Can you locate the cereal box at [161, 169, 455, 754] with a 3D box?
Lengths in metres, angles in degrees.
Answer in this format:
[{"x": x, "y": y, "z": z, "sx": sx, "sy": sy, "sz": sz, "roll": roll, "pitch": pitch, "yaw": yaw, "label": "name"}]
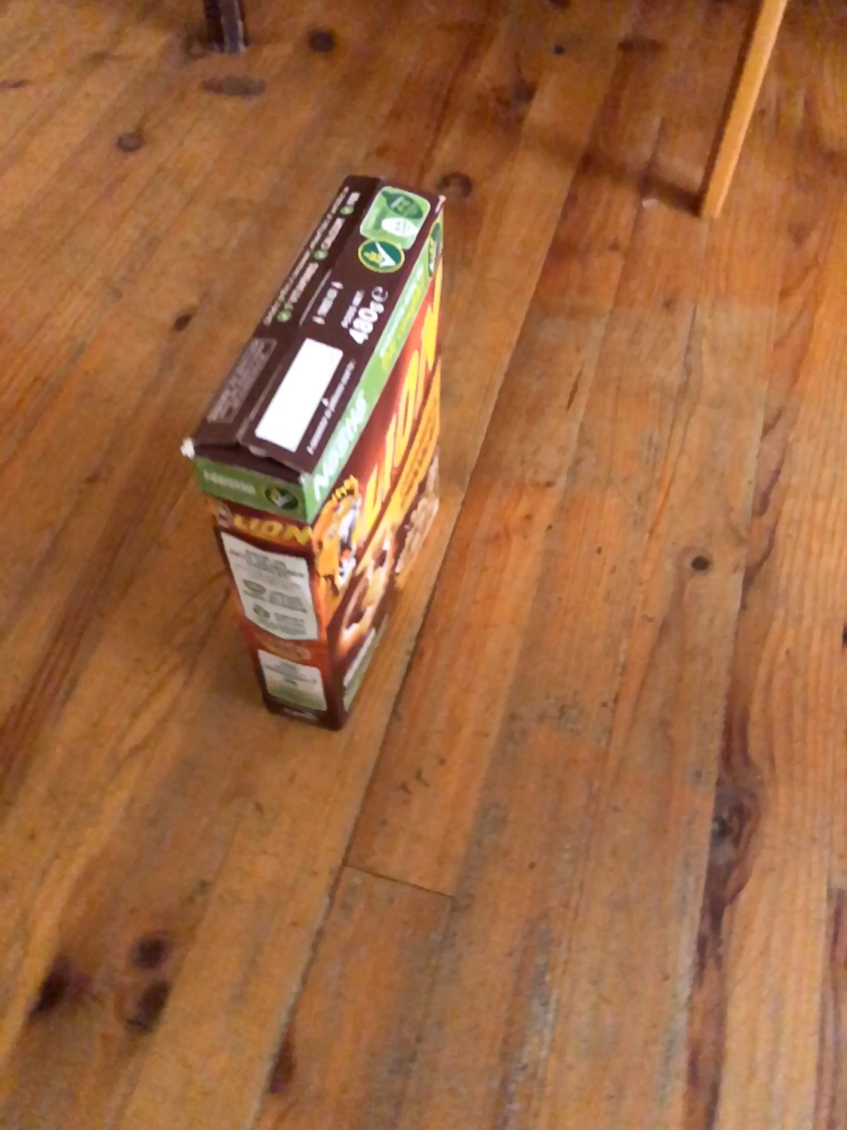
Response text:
[{"x": -0.045, "y": -0.041, "z": 0.545, "sx": 0.060, "sy": 0.279, "sz": 0.201, "roll": 16, "pitch": 59, "yaw": 10, "label": "cereal box"}]
